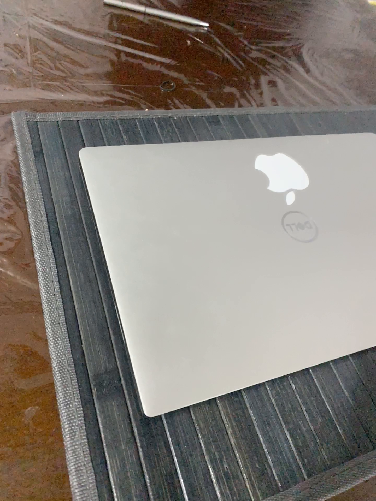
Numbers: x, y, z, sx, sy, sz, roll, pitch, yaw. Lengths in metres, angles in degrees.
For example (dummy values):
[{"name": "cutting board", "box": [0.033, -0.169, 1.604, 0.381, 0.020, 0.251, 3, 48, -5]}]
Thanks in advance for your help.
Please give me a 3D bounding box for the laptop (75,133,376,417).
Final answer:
[{"name": "laptop", "box": [0.073, -0.016, 0.285, 0.272, 0.001, 0.188, -10, 59, -21]}]
